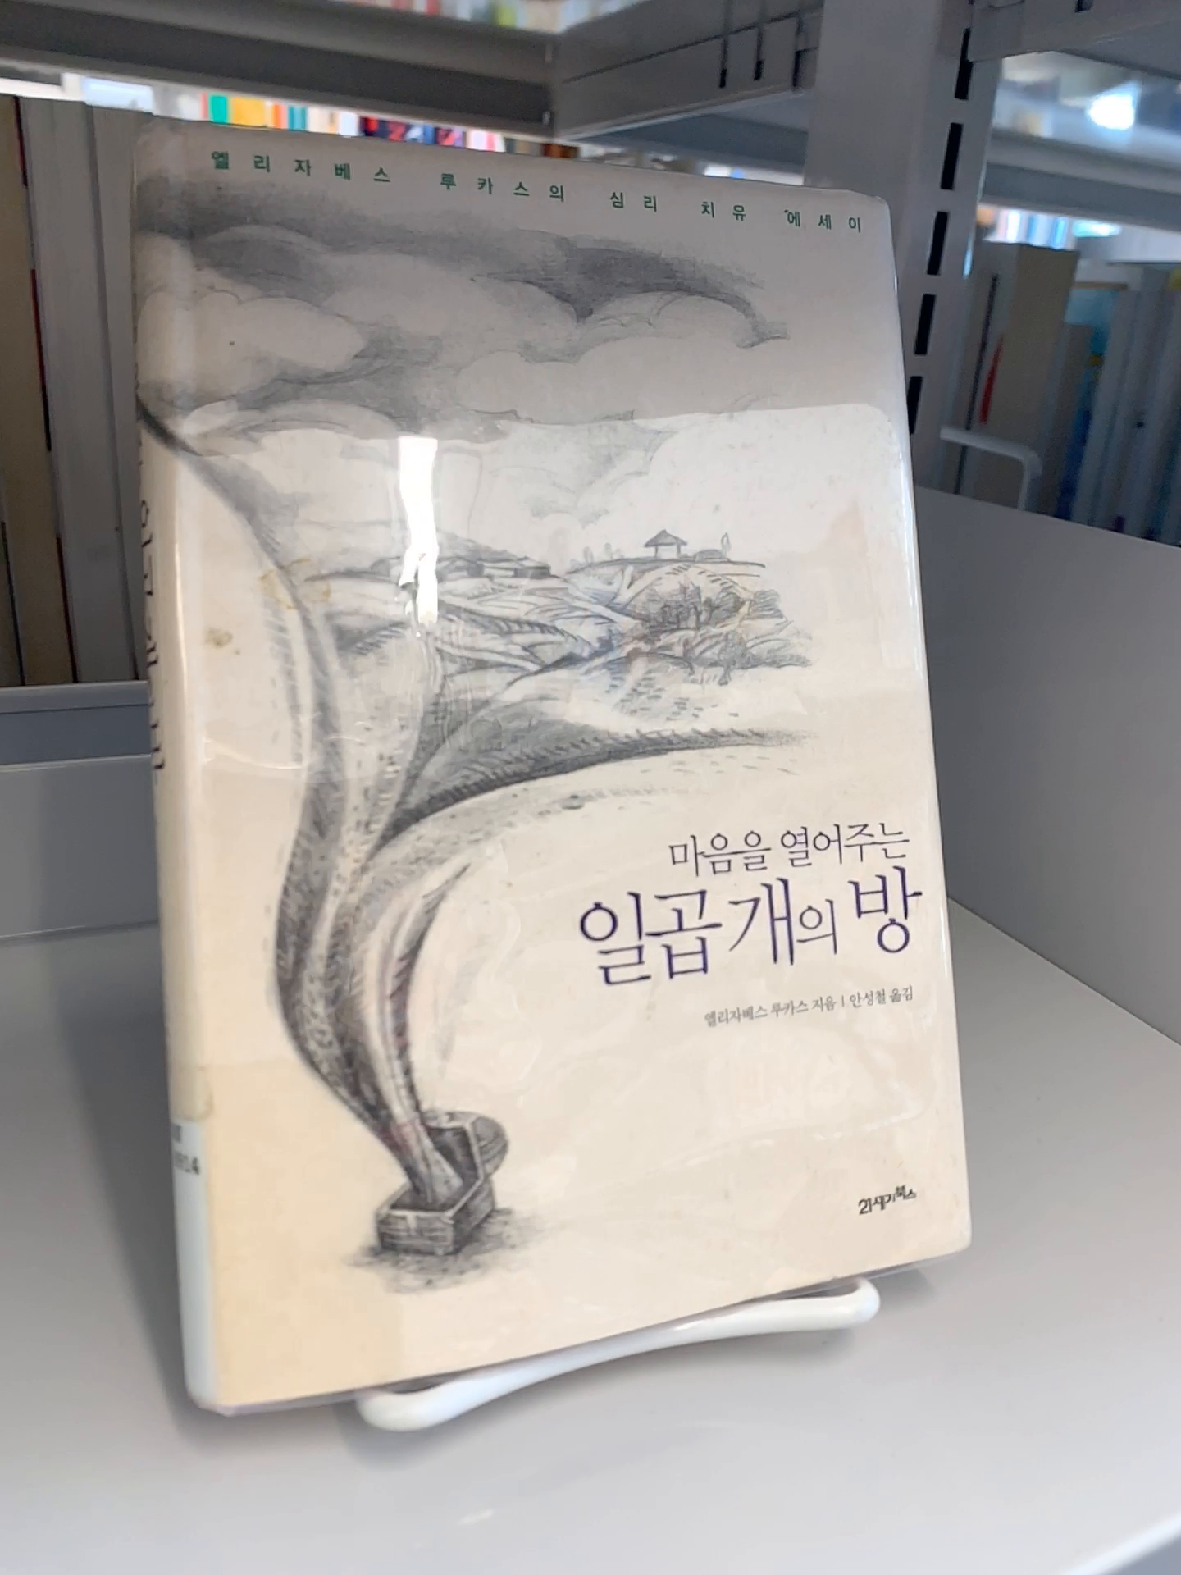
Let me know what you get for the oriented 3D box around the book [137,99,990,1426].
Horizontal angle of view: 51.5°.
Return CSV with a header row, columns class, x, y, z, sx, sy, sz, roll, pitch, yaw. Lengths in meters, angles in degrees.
class,x,y,z,sx,sy,sz,roll,pitch,yaw
book,0.000,-0.007,0.209,0.137,0.192,0.019,-3,0,-20
